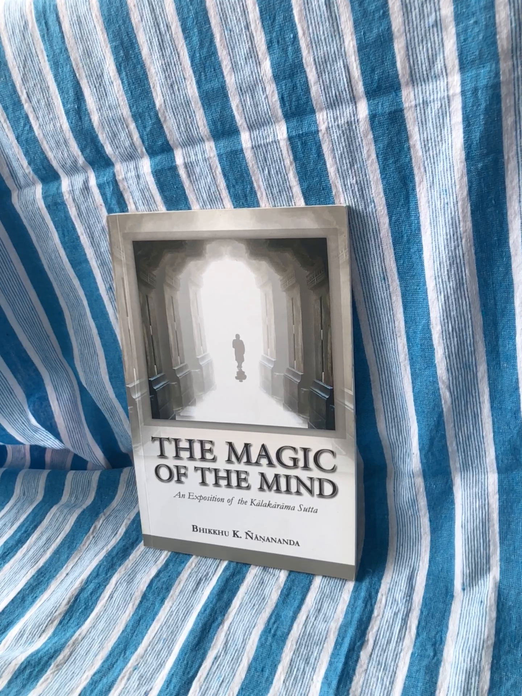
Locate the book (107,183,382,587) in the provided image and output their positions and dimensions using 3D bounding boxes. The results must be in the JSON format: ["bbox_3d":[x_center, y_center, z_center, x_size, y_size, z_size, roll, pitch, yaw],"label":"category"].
[{"bbox_3d":[-0.009,0.024,0.329,0.150,0.219,0.010,2,14,18],"label":"book"}]
